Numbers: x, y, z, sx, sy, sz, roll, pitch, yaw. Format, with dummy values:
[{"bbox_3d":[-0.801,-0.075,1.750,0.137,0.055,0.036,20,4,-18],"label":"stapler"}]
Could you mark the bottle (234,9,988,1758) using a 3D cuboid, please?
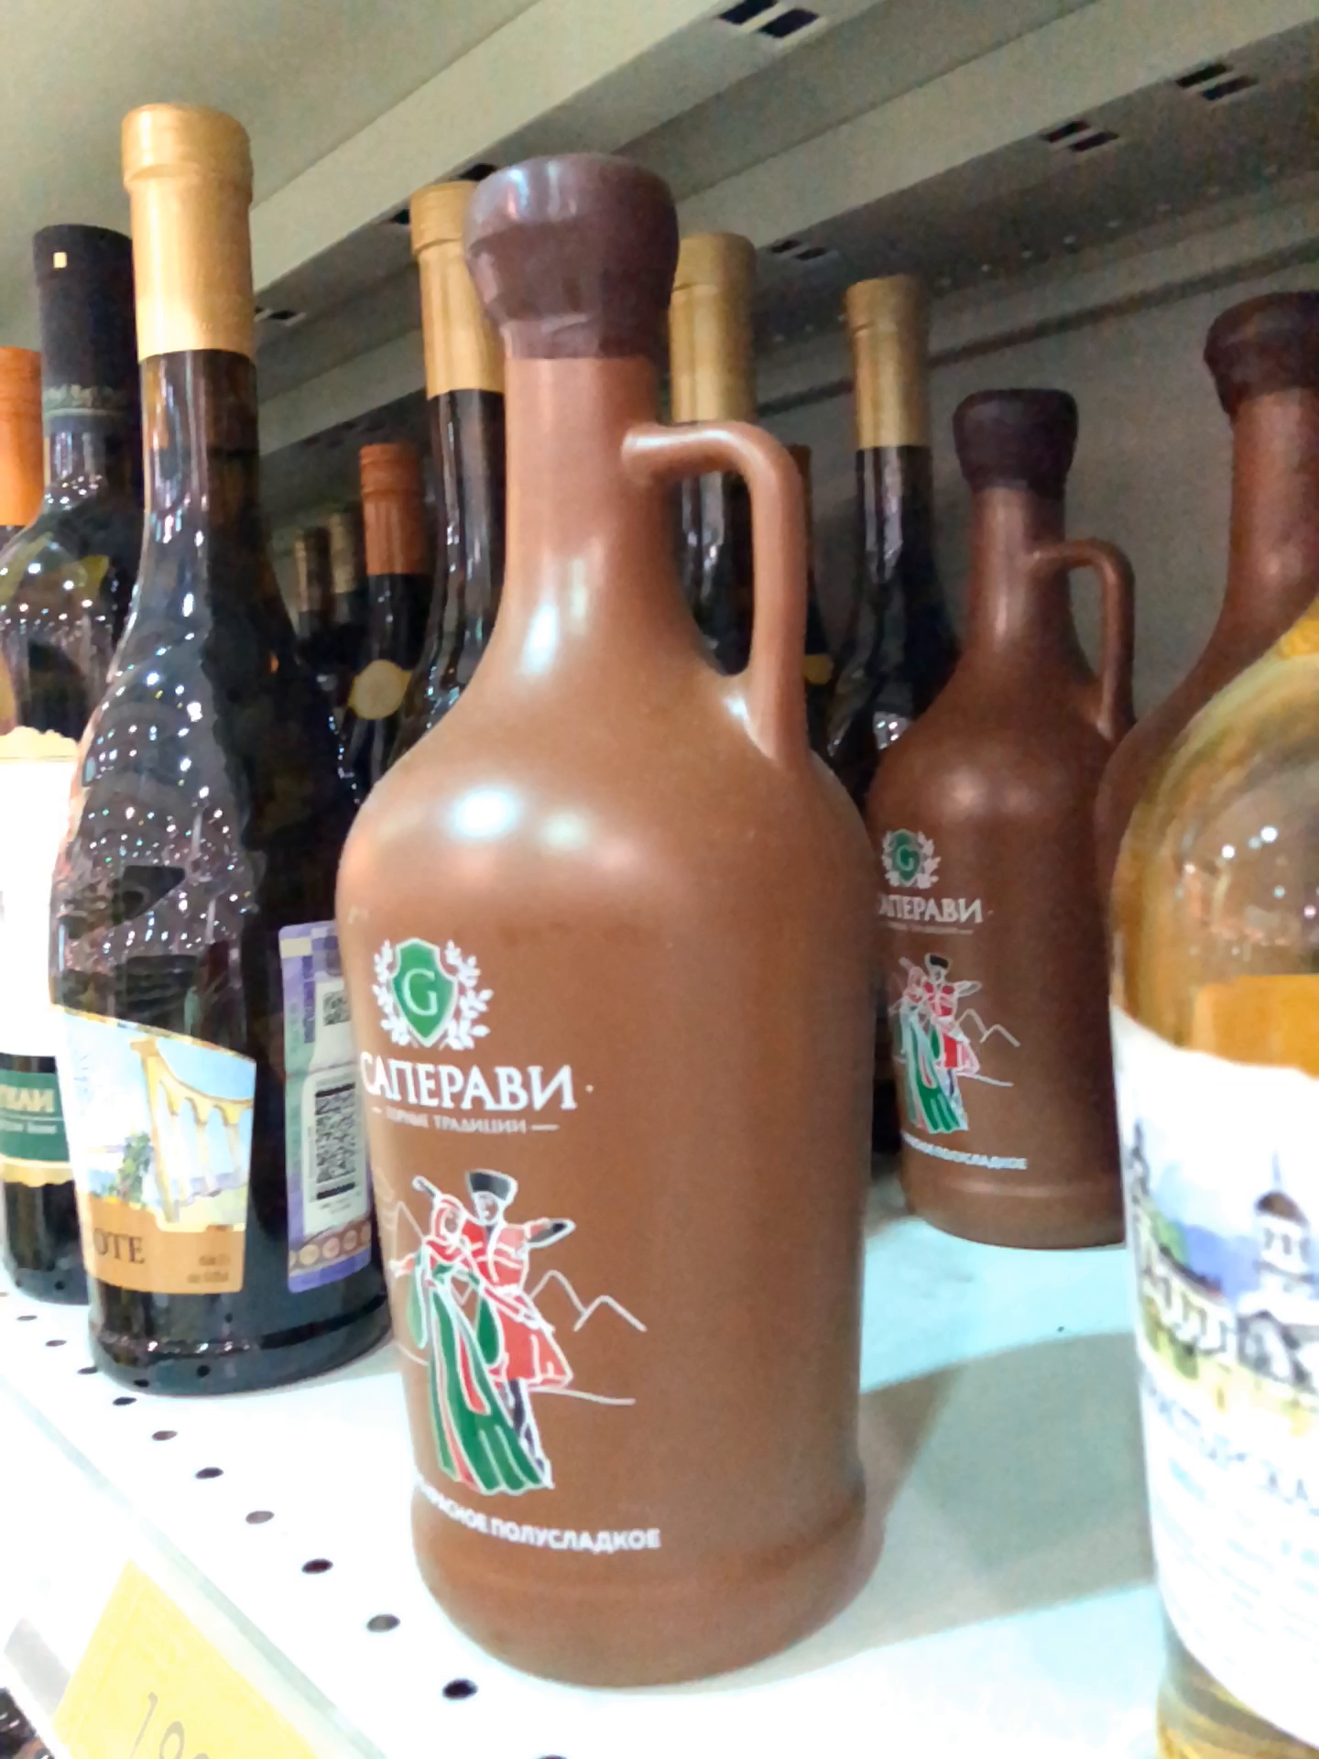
[{"bbox_3d":[-0.004,0.004,0.264,0.090,0.250,0.090,-2,4,0],"label":"bottle"}]
